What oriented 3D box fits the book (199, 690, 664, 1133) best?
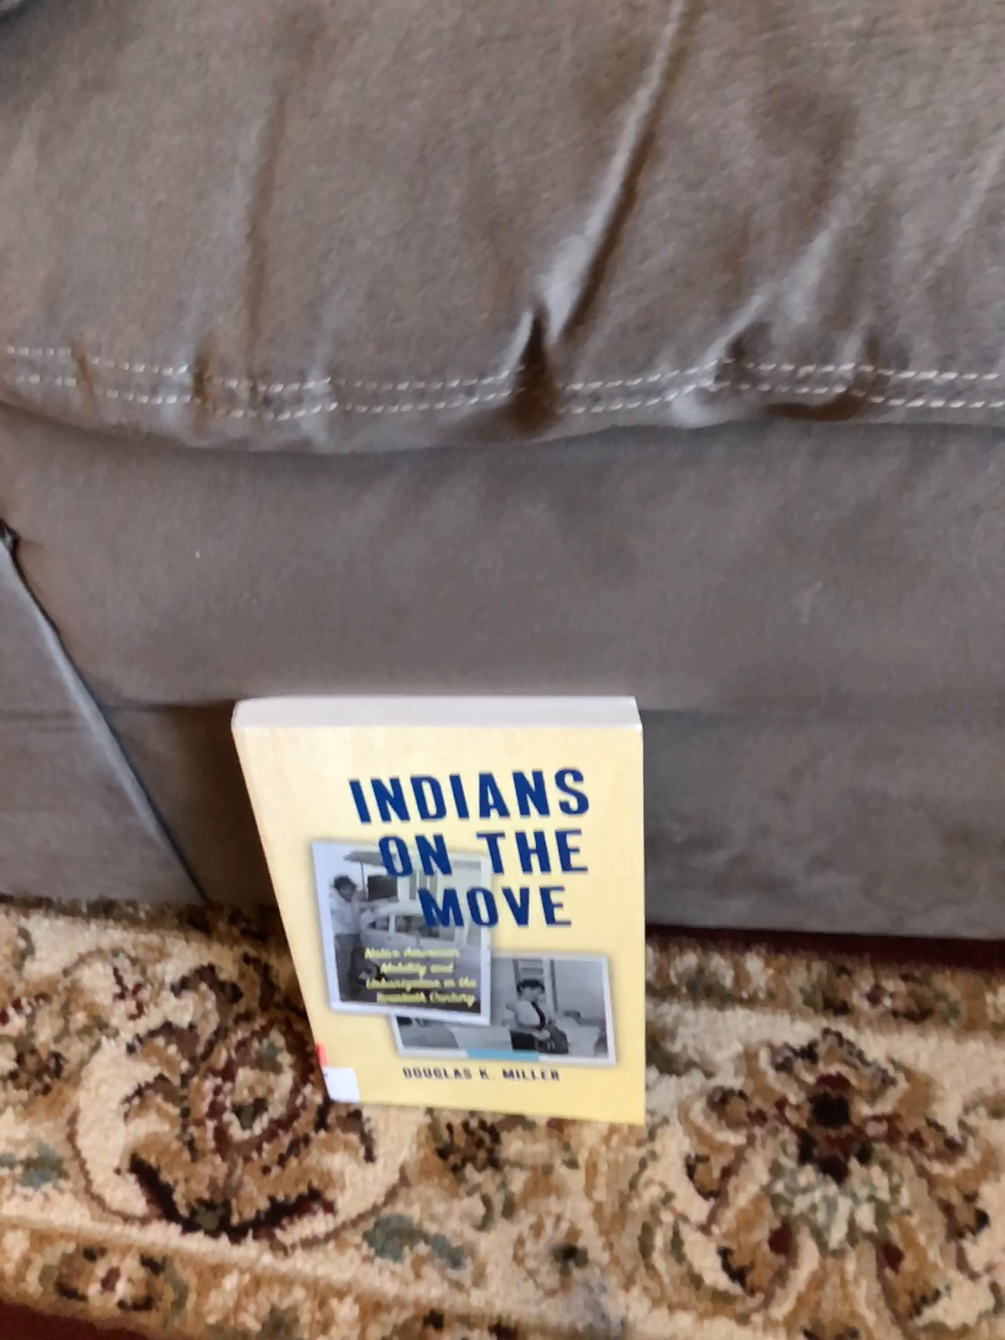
[{"bbox_3d":[-0.016,0.109,0.466,0.160,0.229,0.030,0,36,10],"label":"book"}]
